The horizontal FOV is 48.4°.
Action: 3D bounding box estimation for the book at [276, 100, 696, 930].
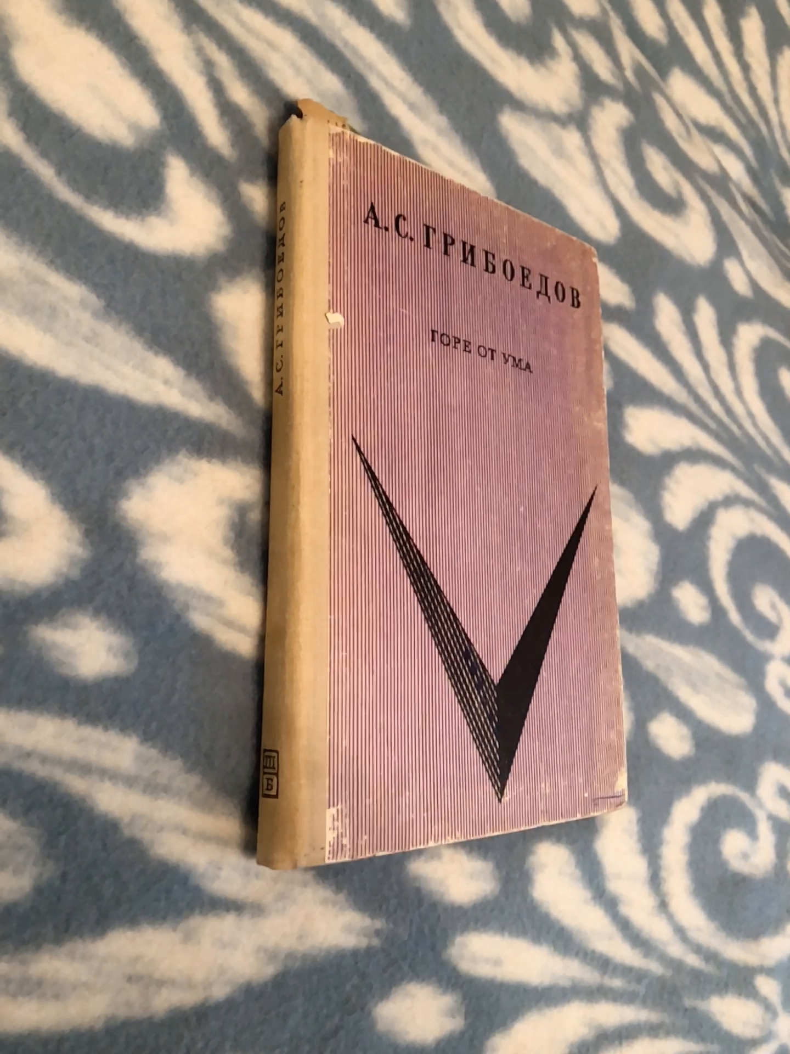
[{"bbox_3d":[0.038,-0.002,0.283,0.159,0.020,0.217,8,78,-39],"label":"book"}]
